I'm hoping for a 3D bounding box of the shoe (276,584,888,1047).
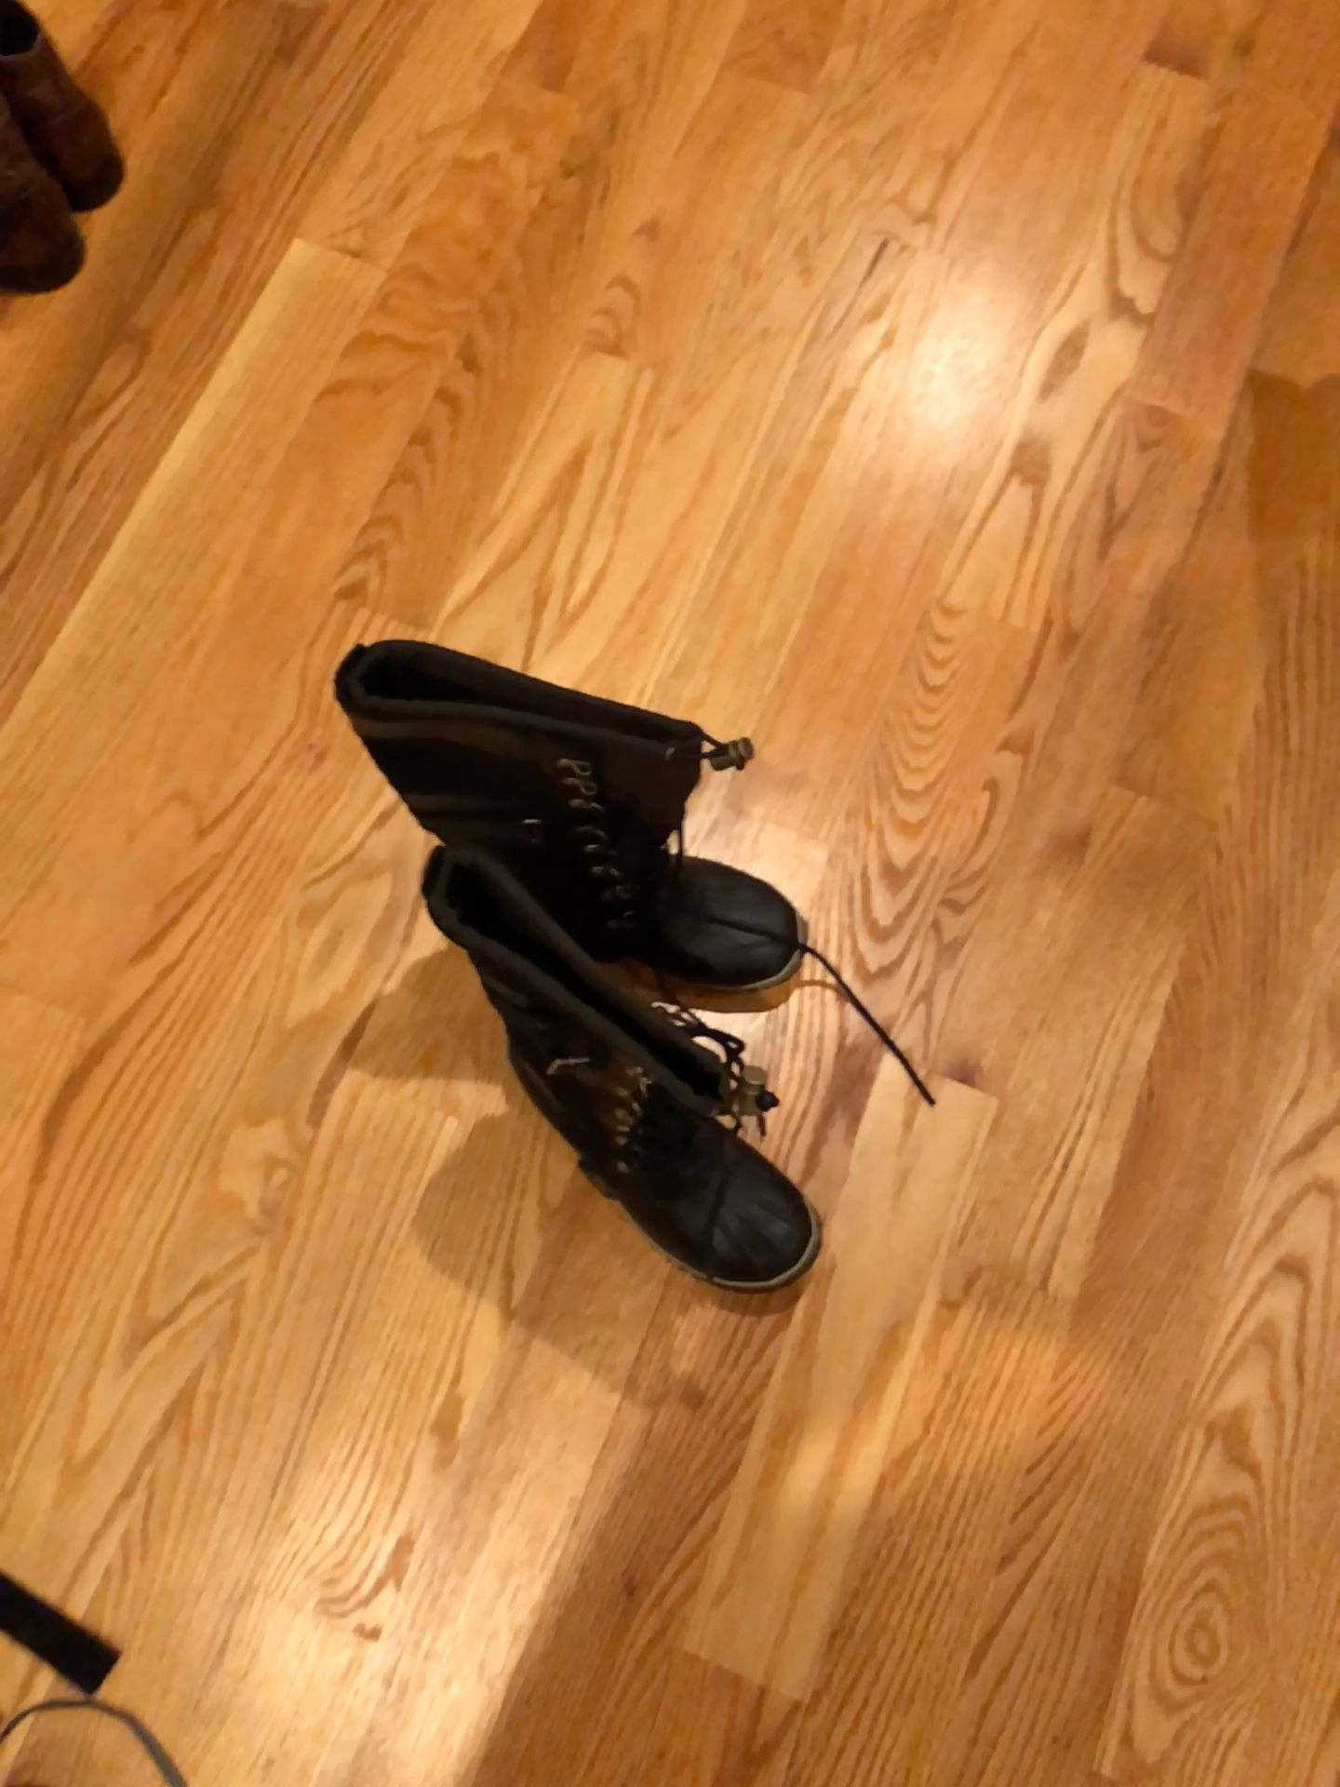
[{"bbox_3d":[-0.040,-0.022,0.815,0.260,0.330,0.100,10,72,2],"label":"shoe"}]

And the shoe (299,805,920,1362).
[{"bbox_3d":[-0.031,0.121,0.777,0.260,0.310,0.100,36,74,10],"label":"shoe"}]
